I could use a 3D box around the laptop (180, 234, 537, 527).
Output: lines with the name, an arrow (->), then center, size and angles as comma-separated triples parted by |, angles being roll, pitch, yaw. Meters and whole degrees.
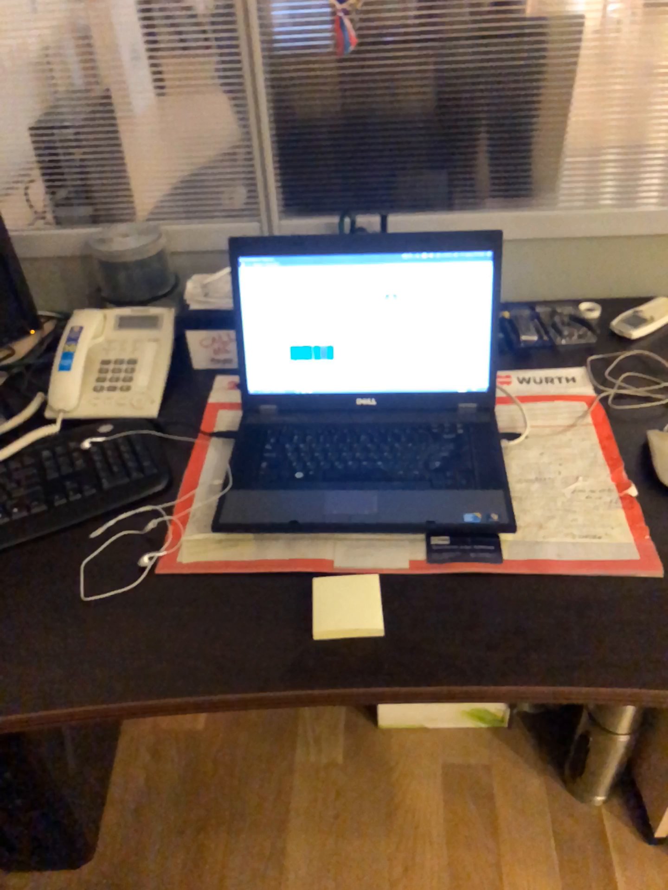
laptop -> 0.035, -0.076, 0.822 | 0.316, 0.209, 0.257 | -1, 38, 5
